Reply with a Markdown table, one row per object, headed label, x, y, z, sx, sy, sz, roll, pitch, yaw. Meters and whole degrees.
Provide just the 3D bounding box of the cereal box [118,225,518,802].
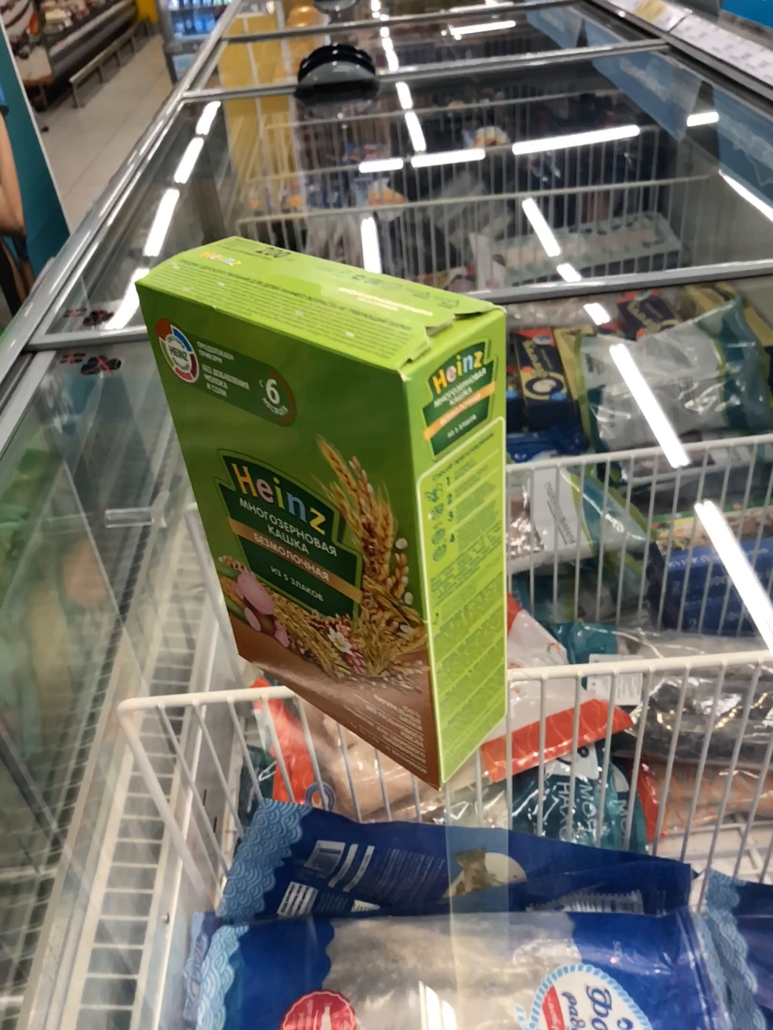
| label | x | y | z | sx | sy | sz | roll | pitch | yaw |
| --- | --- | --- | --- | --- | --- | --- | --- | --- | --- |
| cereal box | -0.020 | 0.001 | 0.343 | 0.140 | 0.199 | 0.050 | 25 | 47 | 35 |
